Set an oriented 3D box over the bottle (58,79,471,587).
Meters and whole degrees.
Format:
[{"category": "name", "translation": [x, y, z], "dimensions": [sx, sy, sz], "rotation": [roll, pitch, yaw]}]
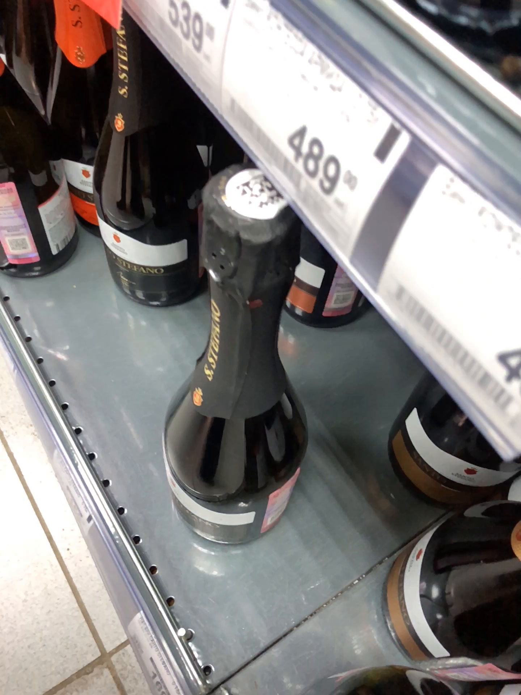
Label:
[{"category": "bottle", "translation": [-0.013, 0.030, 0.304], "dimensions": [0.090, 0.289, 0.100], "rotation": [-29, 65, -21]}]
